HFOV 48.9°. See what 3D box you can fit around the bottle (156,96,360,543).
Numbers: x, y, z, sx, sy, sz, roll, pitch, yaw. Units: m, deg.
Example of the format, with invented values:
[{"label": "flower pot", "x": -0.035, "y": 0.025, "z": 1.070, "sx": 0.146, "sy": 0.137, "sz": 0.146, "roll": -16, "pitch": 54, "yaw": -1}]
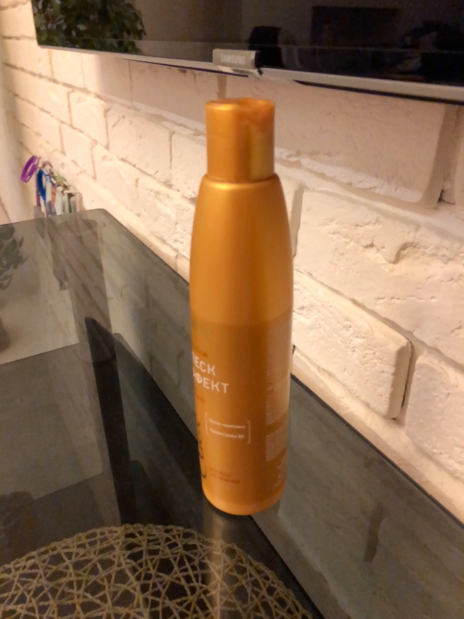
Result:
[{"label": "bottle", "x": 0.009, "y": 0.010, "z": 0.241, "sx": 0.060, "sy": 0.199, "sz": 0.050, "roll": -17, "pitch": 32, "yaw": -30}]
